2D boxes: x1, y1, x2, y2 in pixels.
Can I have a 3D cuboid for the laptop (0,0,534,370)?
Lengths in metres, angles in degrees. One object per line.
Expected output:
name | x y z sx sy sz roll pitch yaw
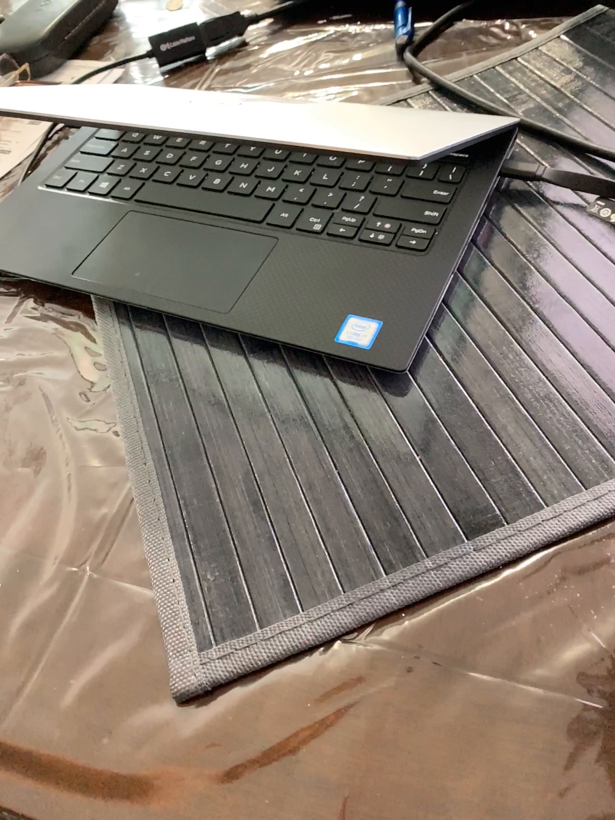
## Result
laptop | -0.055 -0.150 0.339 0.290 0.081 0.183 16 59 21
